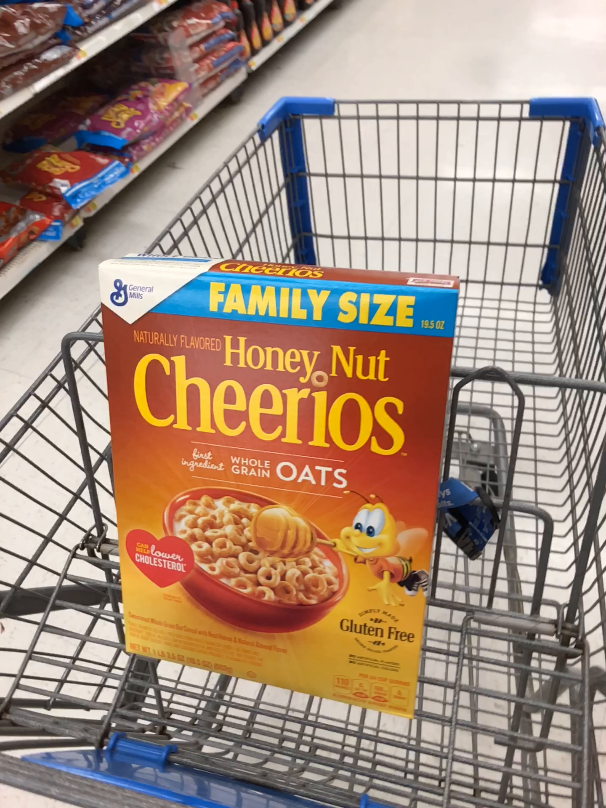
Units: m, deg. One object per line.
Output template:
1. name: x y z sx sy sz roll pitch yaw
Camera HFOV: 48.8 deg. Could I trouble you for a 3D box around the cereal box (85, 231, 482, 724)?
1. cereal box: -0.016 0.051 0.492 0.250 0.330 0.070 7 20 15
